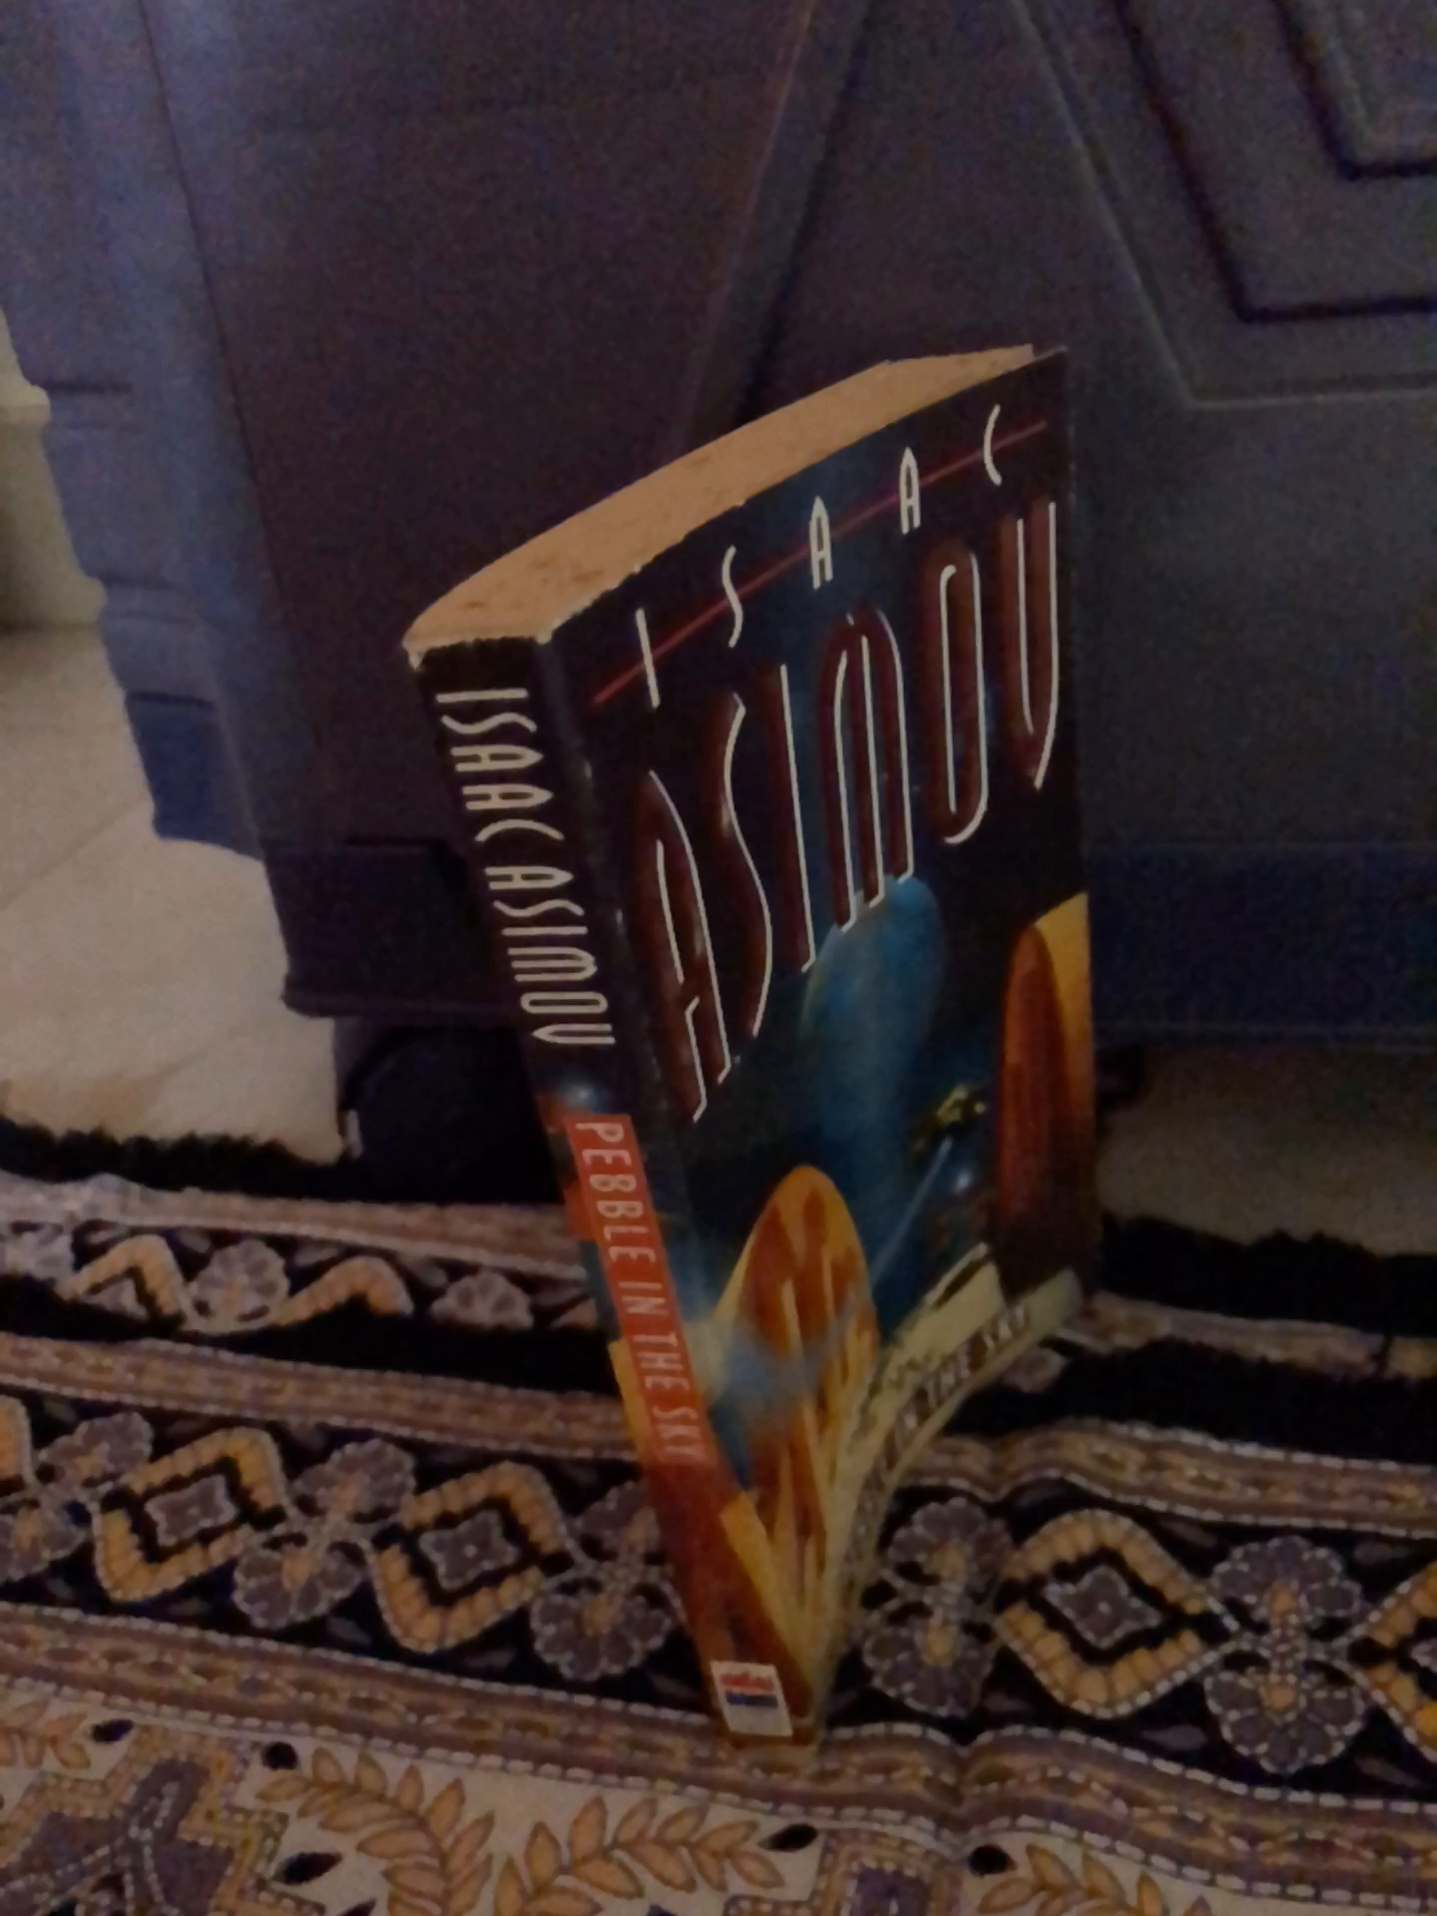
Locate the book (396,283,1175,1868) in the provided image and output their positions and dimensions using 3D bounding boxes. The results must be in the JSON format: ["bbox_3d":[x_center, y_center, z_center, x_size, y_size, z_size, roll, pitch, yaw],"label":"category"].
[{"bbox_3d":[0.032,0.011,0.251,0.030,0.189,0.150,9,33,30],"label":"book"}]
